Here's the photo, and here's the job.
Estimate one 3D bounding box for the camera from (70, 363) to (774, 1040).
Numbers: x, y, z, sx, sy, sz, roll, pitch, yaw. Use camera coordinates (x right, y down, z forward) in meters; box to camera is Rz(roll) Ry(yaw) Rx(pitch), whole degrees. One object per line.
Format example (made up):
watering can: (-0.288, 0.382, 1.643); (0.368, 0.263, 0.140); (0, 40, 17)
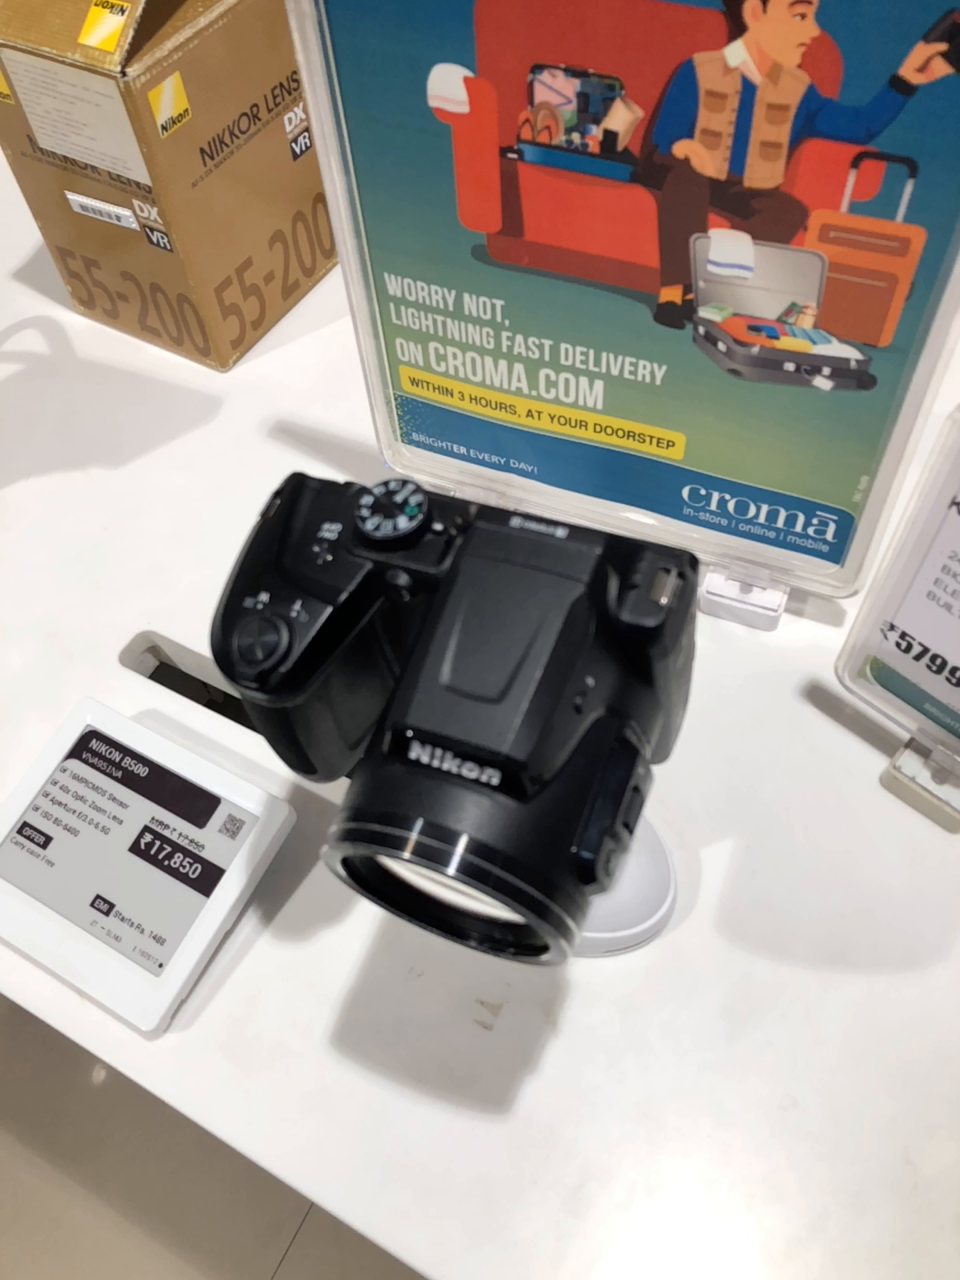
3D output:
camera: (-0.004, 0.010, 0.241); (0.110, 0.070, 0.110); (15, 58, 14)
